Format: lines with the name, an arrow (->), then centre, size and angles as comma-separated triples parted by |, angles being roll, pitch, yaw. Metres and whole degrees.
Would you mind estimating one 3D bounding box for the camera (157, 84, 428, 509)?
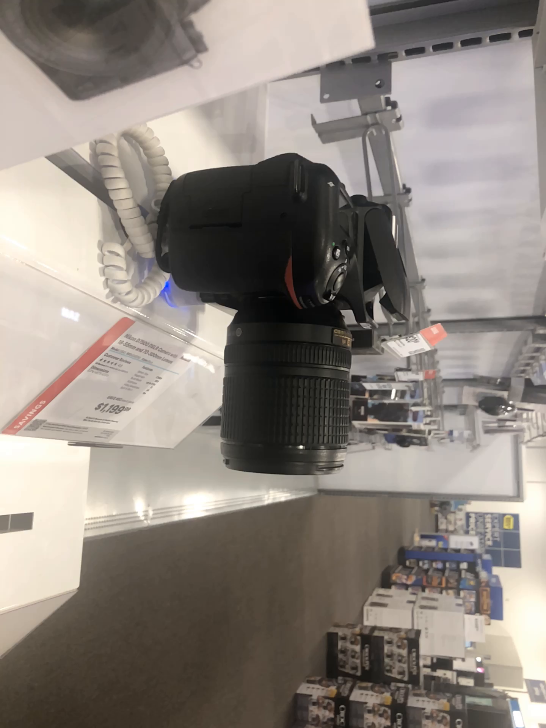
camera -> 0.023, -0.024, 0.354 | 0.151, 0.119, 0.190 | 19, 70, -73
